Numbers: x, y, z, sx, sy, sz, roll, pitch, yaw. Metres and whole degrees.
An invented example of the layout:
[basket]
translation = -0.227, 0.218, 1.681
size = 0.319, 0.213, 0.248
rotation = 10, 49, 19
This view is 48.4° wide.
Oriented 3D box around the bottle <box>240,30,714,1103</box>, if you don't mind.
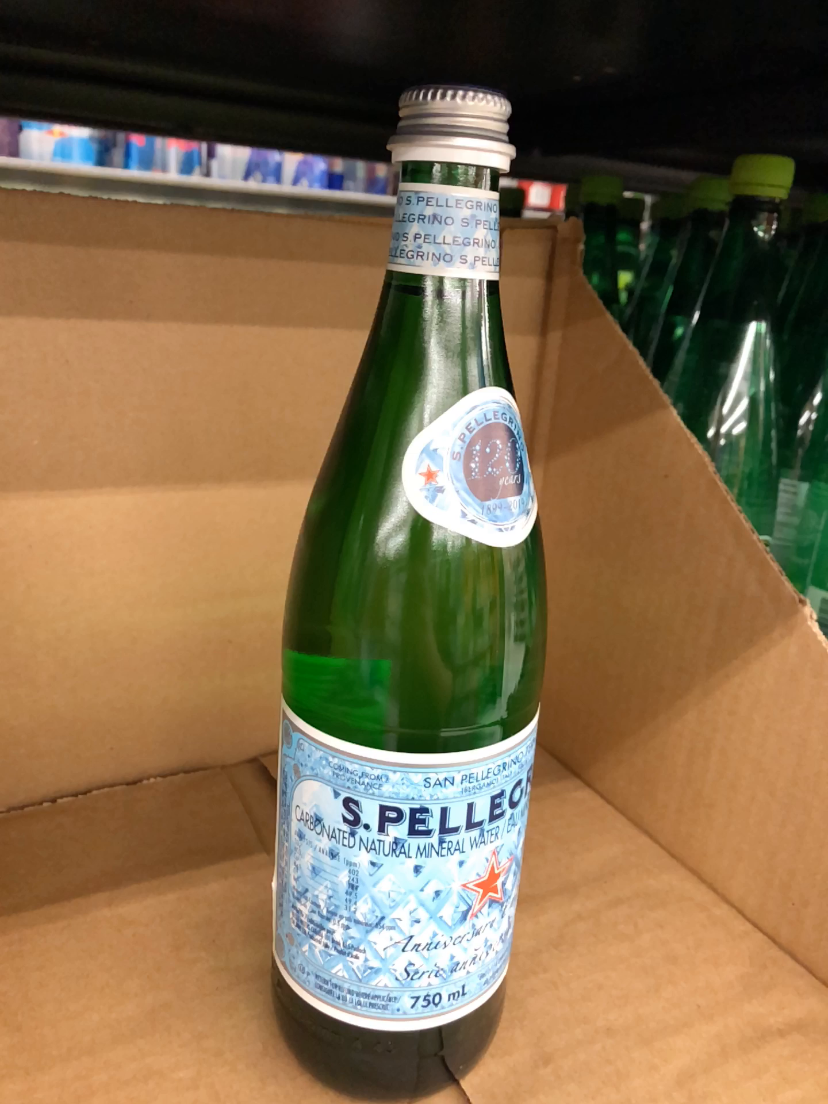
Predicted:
[bottle]
translation = 0.004, 0.023, 0.257
size = 0.080, 0.278, 0.070
rotation = -6, 21, -29
